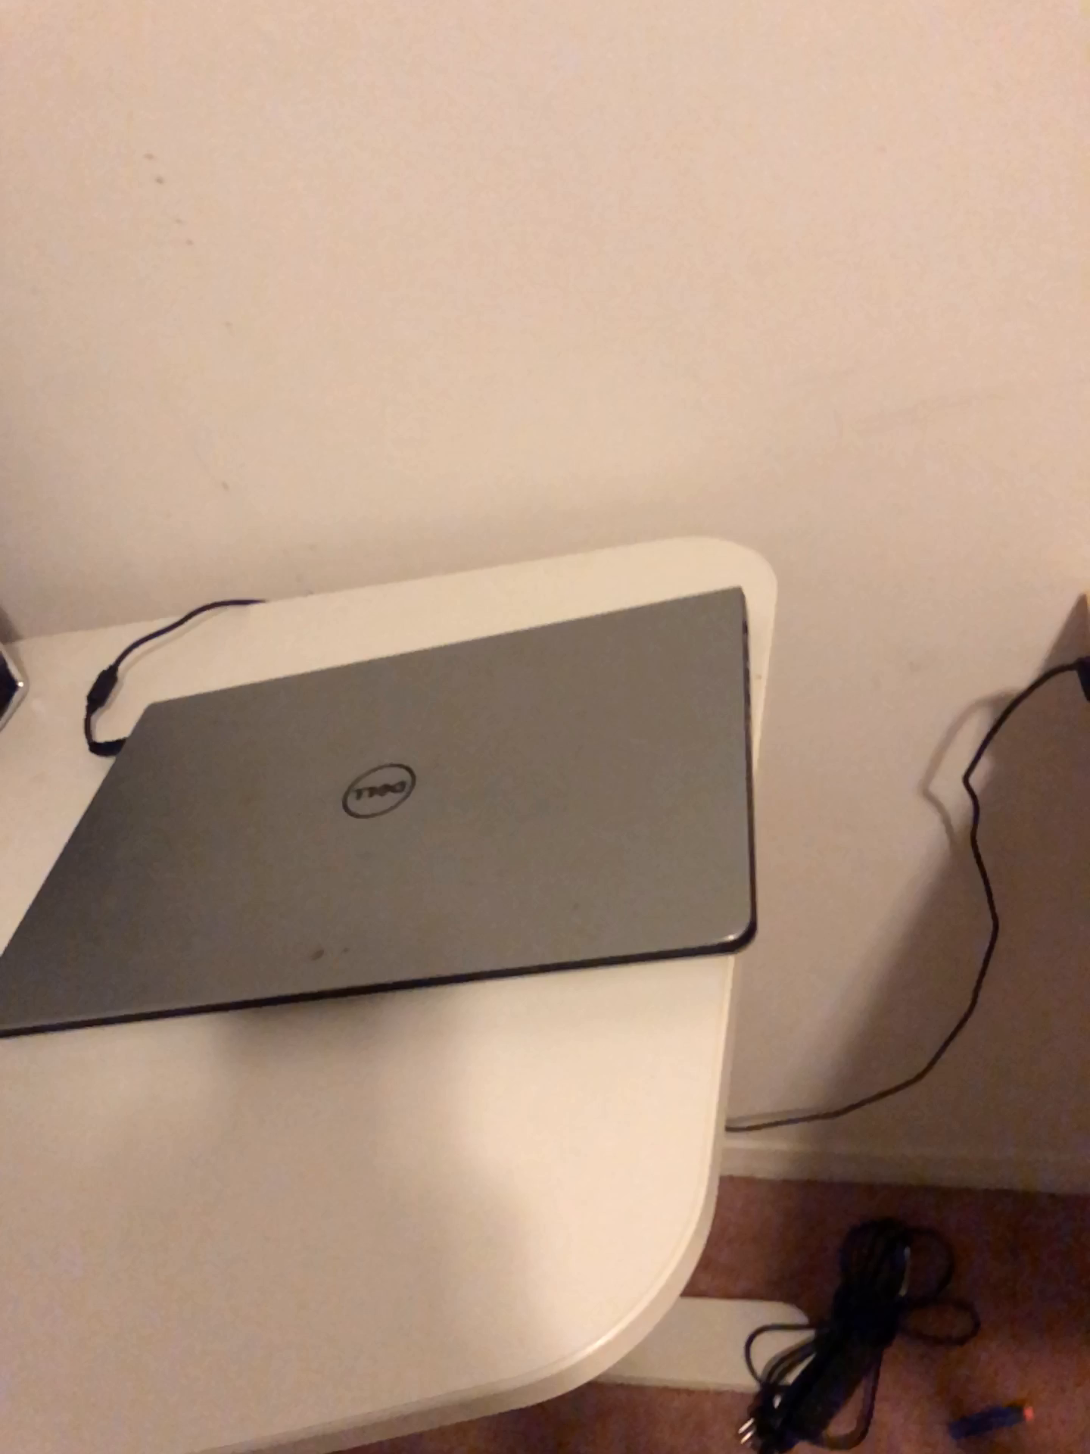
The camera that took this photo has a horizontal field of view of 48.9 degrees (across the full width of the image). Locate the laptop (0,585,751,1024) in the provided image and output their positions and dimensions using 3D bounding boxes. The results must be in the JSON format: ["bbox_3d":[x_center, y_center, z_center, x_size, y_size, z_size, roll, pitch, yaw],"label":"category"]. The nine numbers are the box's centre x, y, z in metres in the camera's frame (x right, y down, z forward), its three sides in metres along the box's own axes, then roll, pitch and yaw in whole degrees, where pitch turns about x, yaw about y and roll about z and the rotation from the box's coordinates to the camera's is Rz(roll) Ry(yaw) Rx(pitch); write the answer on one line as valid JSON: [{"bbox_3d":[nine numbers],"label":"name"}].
[{"bbox_3d":[-0.082,0.033,0.616,0.372,0.001,0.248,-10,37,17],"label":"laptop"}]
